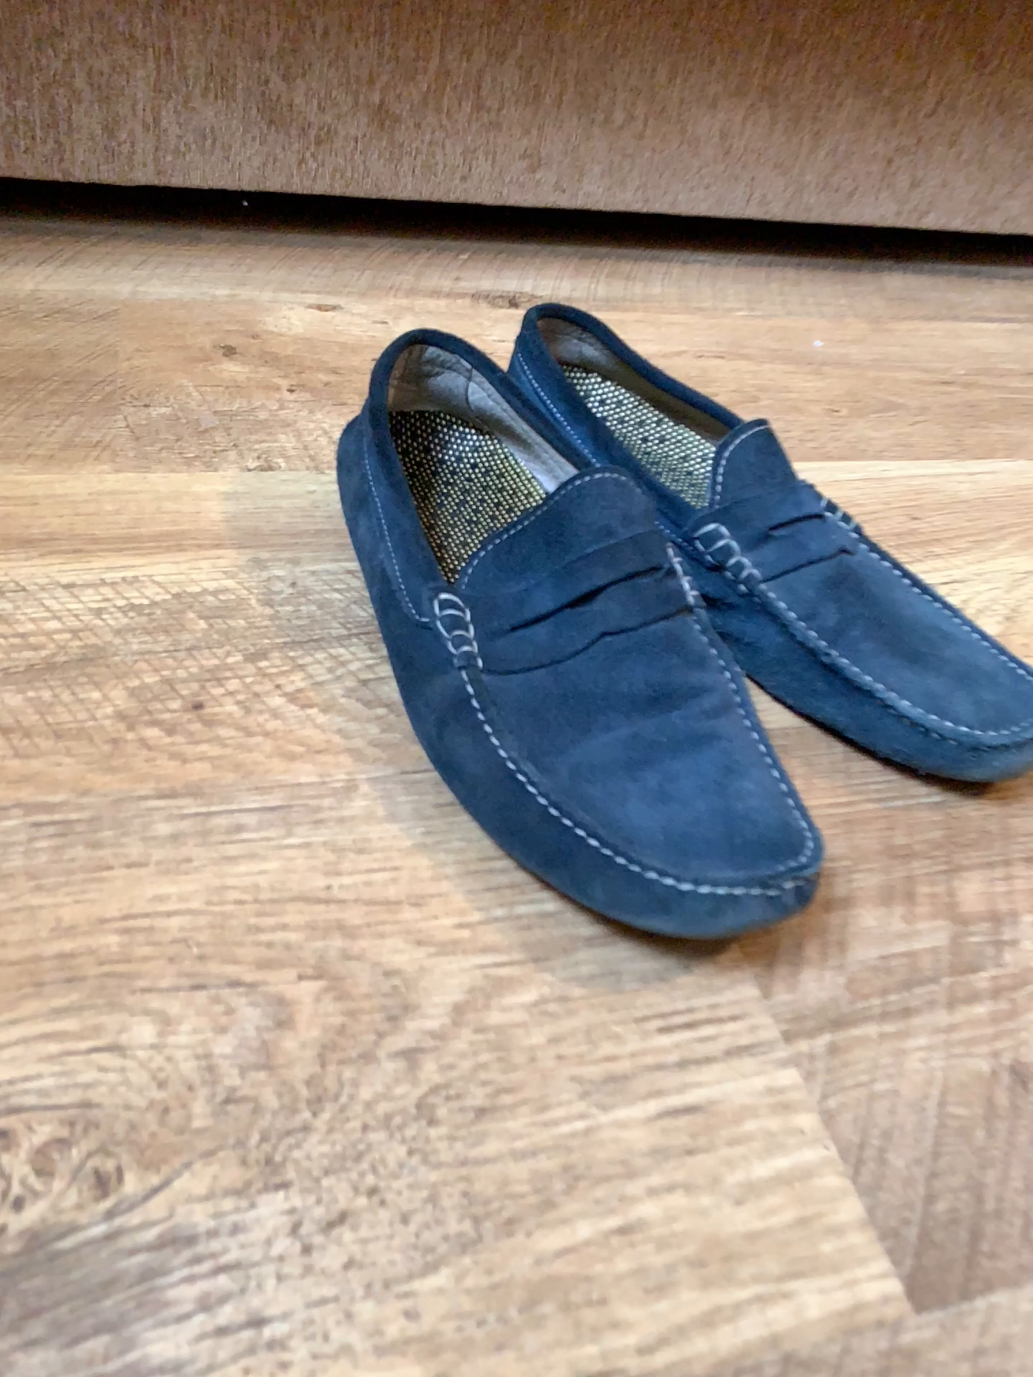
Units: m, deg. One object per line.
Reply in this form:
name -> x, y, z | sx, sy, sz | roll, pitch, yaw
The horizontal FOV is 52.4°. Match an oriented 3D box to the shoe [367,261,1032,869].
shoe -> 0.072, -0.072, 0.406 | 0.110, 0.070, 0.291 | -25, 51, -34

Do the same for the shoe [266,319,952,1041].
shoe -> 0.002, -0.032, 0.352 | 0.100, 0.070, 0.271 | -12, 45, -23
